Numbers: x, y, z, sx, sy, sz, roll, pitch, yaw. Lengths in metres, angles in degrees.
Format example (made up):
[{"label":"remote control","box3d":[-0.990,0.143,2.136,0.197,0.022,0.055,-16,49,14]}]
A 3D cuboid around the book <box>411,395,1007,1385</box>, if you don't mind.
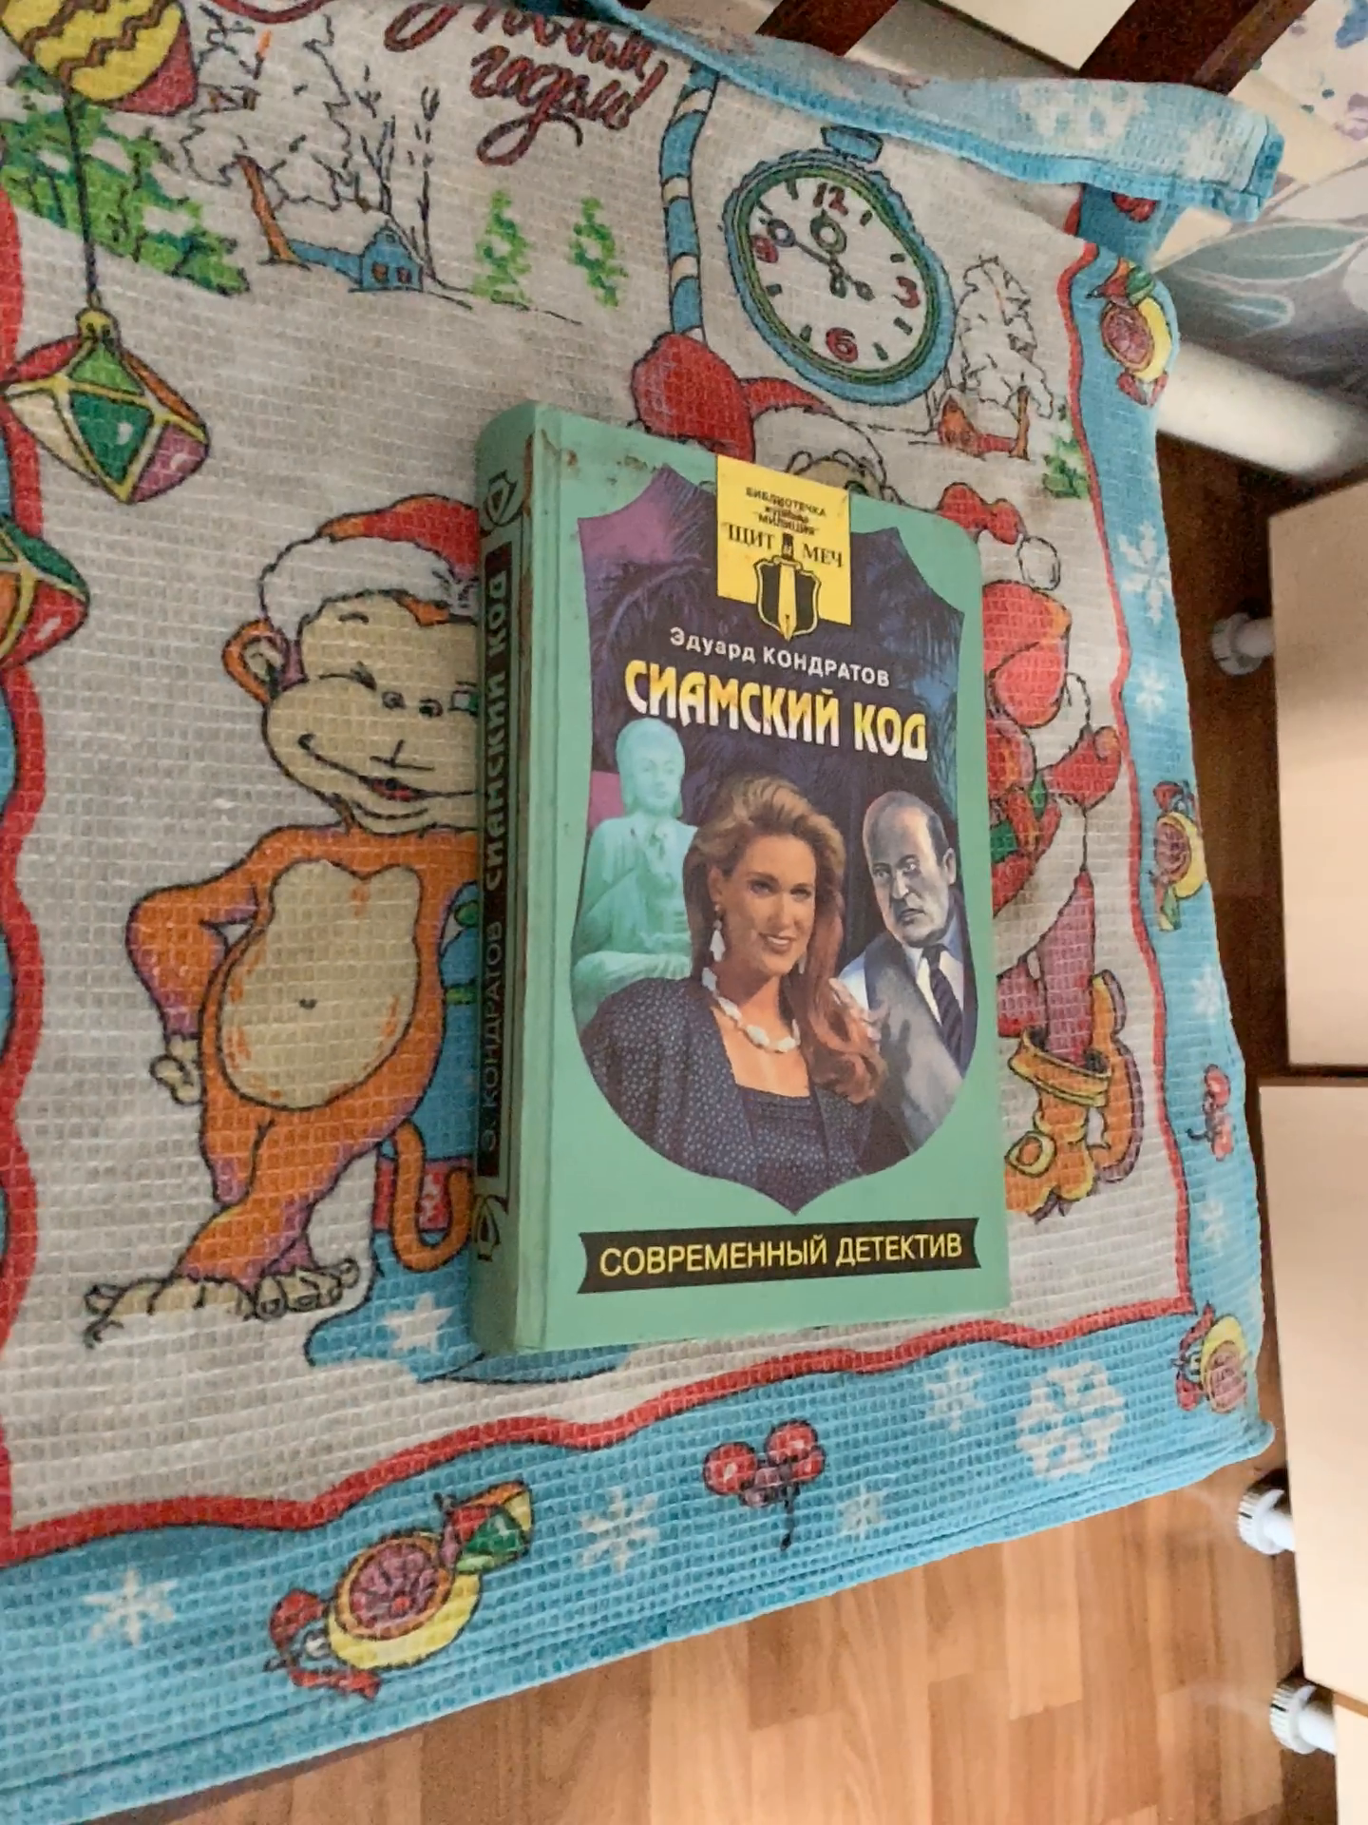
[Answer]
[{"label":"book","box3d":[0.011,-0.003,0.325,0.141,0.023,0.200,5,81,-30]}]
